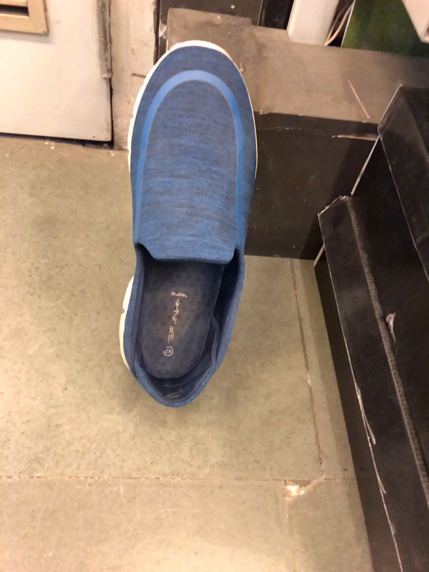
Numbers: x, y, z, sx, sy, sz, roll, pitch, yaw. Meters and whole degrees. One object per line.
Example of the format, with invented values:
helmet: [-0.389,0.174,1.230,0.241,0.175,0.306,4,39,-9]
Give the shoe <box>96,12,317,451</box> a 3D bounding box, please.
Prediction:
shoe: [-0.015,-0.030,0.354,0.110,0.272,0.095,6,10,-10]
